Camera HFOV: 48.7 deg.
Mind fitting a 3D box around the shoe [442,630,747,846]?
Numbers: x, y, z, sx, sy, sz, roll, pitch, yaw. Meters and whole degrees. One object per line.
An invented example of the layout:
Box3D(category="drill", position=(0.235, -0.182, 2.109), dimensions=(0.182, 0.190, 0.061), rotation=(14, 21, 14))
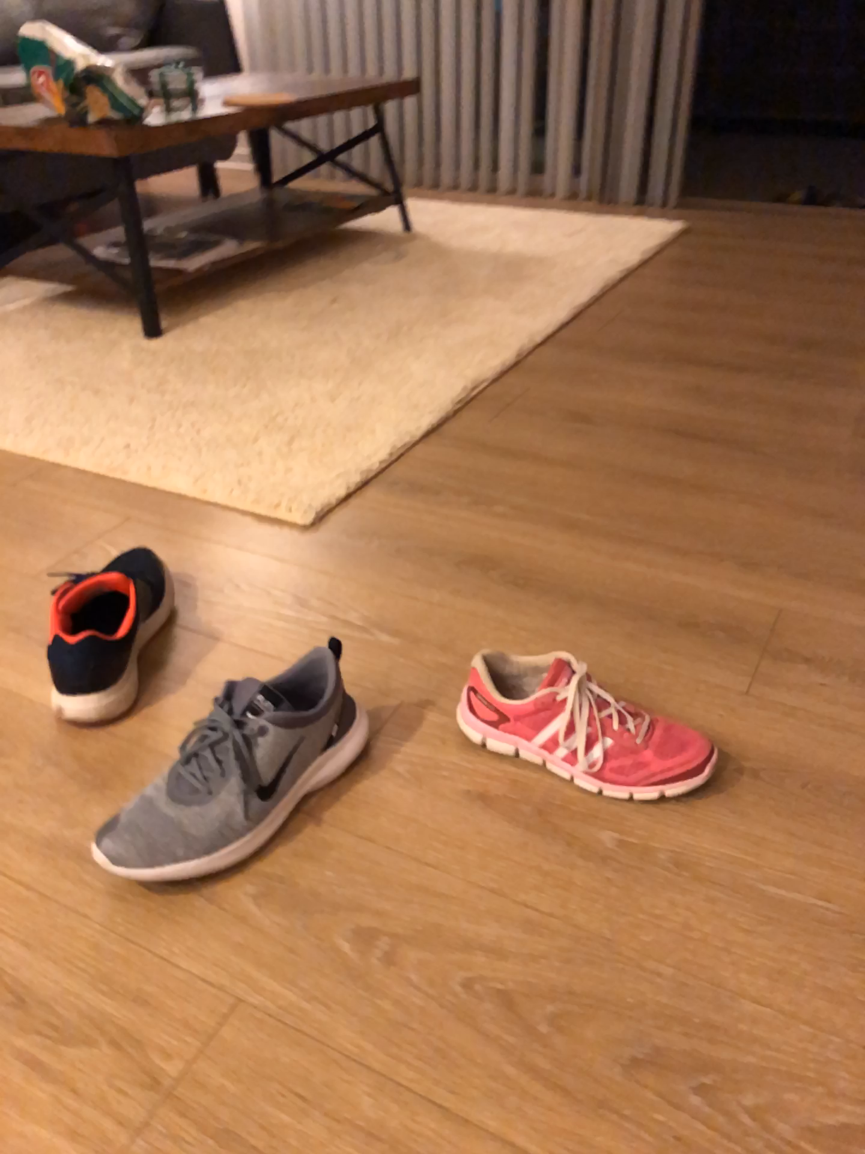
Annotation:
Box3D(category="shoe", position=(0.163, 0.157, 0.982), dimensions=(0.280, 0.099, 0.121), rotation=(12, 34, 21))

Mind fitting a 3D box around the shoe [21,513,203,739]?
Box3D(category="shoe", position=(-0.370, 0.046, 1.151), dimensions=(0.130, 0.099, 0.322), rotation=(-3, 32, -3))

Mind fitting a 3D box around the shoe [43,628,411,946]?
Box3D(category="shoe", position=(-0.181, 0.183, 0.918), dimensions=(0.130, 0.099, 0.321), rotation=(26, 41, 37))
